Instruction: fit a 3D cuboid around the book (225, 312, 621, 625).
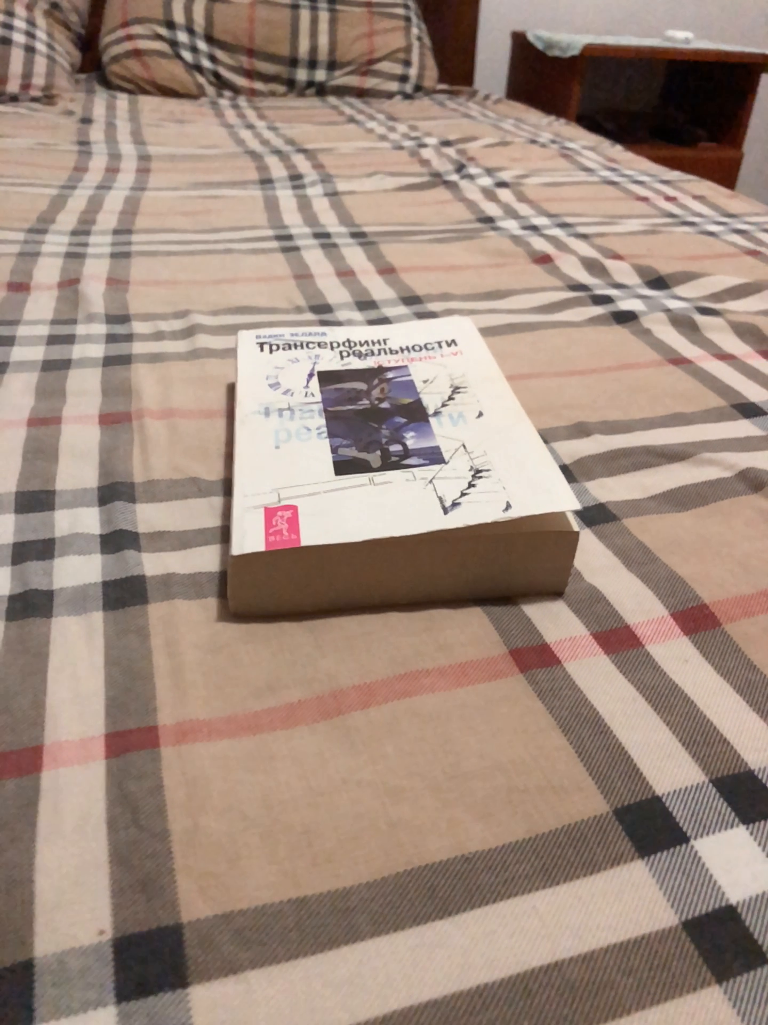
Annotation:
[{"bbox_3d":[0.000,-0.035,0.391,0.143,0.037,0.203,-2,35,-9],"label":"book"}]
